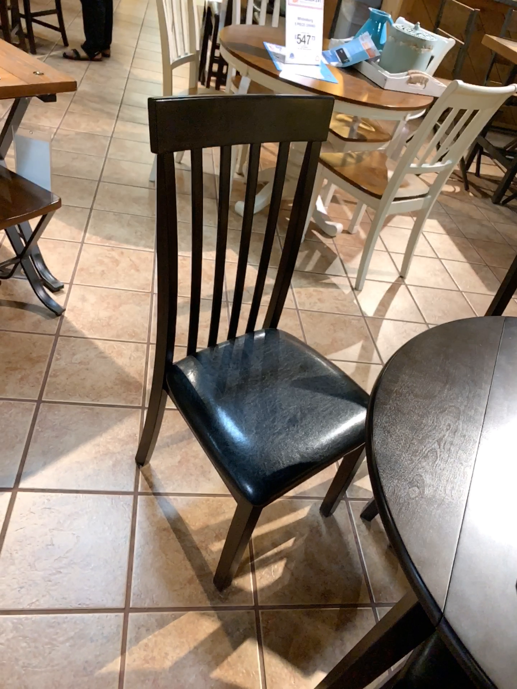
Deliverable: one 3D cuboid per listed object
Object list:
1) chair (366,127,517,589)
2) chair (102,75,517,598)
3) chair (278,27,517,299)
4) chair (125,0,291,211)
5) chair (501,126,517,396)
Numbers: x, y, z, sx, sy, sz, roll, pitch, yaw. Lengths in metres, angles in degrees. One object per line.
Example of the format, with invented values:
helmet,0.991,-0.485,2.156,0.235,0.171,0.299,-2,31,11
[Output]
chair,0.631,0.065,1.294,0.384,0.933,0.544,19,39,3
chair,0.003,-0.005,1.178,0.455,0.923,0.562,-20,51,-36
chair,0.530,-0.755,2.256,0.465,0.893,0.542,-18,50,-34
chair,-0.265,-1.210,2.509,0.541,0.903,0.416,20,39,5
chair,1.496,-0.277,2.054,0.541,0.893,0.406,6,40,-12
